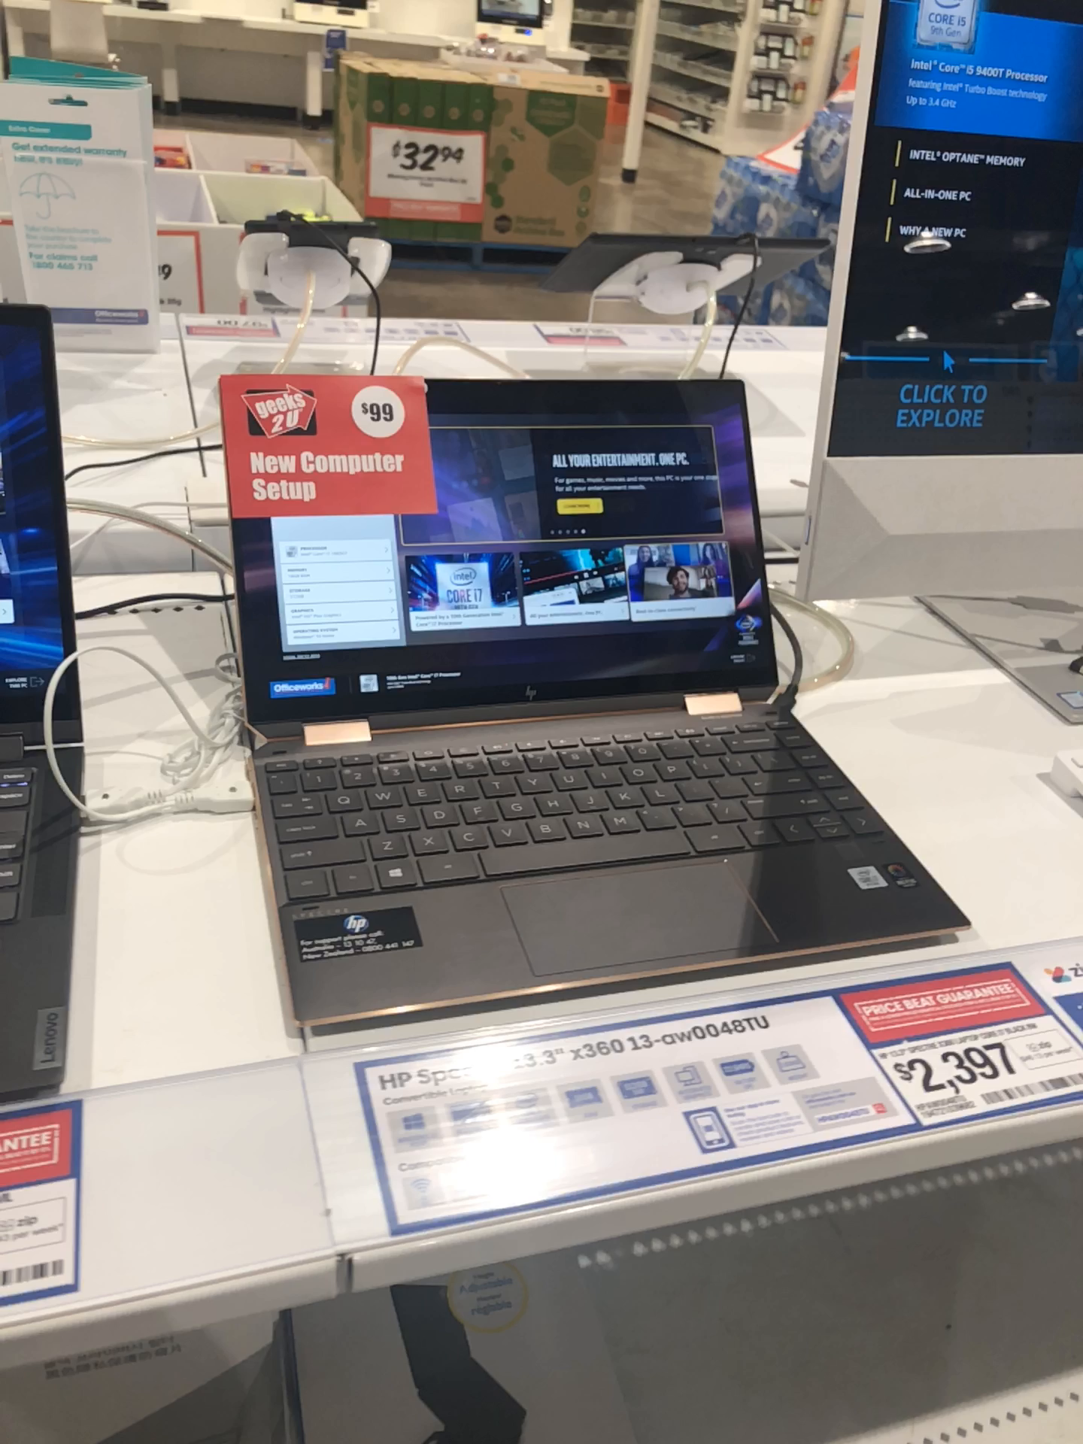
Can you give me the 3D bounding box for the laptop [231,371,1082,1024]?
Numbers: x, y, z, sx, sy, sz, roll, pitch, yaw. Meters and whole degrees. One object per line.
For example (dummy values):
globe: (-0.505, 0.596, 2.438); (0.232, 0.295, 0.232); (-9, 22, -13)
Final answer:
laptop: (0.017, -0.045, 0.576); (0.298, 0.147, 0.315); (-4, 34, -16)
